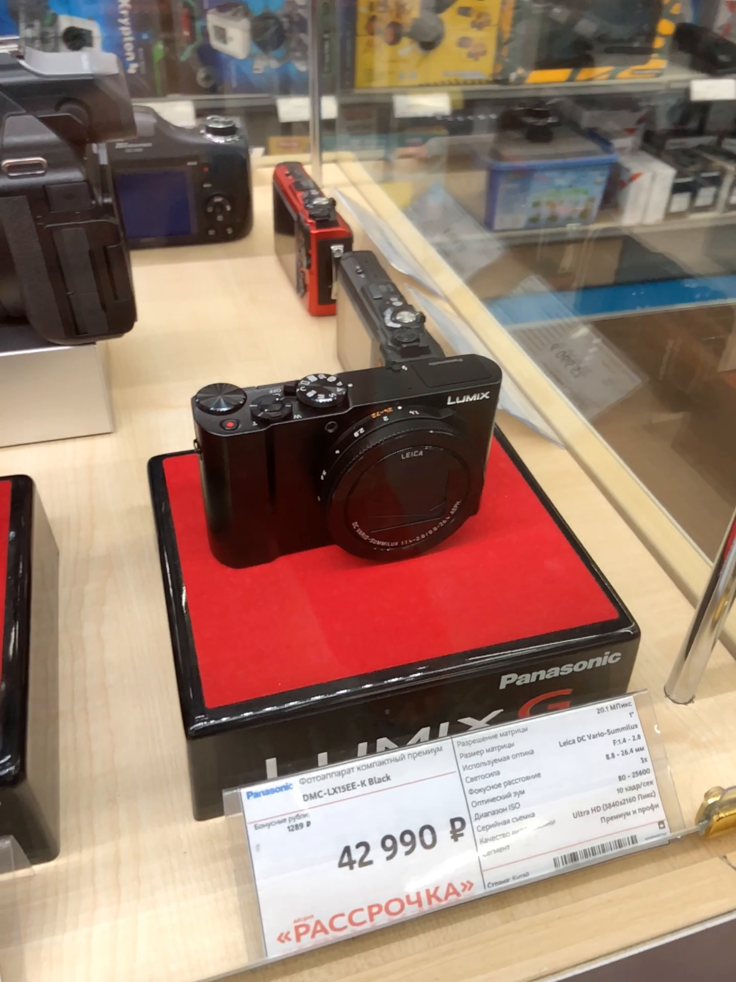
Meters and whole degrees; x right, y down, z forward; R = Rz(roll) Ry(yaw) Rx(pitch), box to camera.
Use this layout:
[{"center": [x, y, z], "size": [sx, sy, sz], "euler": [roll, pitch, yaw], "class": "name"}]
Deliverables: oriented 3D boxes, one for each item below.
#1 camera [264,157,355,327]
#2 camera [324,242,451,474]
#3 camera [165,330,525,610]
[{"center": [-0.041, -0.171, 0.551], "size": [0.033, 0.072, 0.111], "euler": [-9, 40, -14], "class": "camera"}, {"center": [0.006, -0.073, 0.428], "size": [0.033, 0.072, 0.111], "euler": [-8, 40, -13], "class": "camera"}, {"center": [-0.008, -0.009, 0.287], "size": [0.110, 0.070, 0.040], "euler": [-11, 41, -17], "class": "camera"}]
